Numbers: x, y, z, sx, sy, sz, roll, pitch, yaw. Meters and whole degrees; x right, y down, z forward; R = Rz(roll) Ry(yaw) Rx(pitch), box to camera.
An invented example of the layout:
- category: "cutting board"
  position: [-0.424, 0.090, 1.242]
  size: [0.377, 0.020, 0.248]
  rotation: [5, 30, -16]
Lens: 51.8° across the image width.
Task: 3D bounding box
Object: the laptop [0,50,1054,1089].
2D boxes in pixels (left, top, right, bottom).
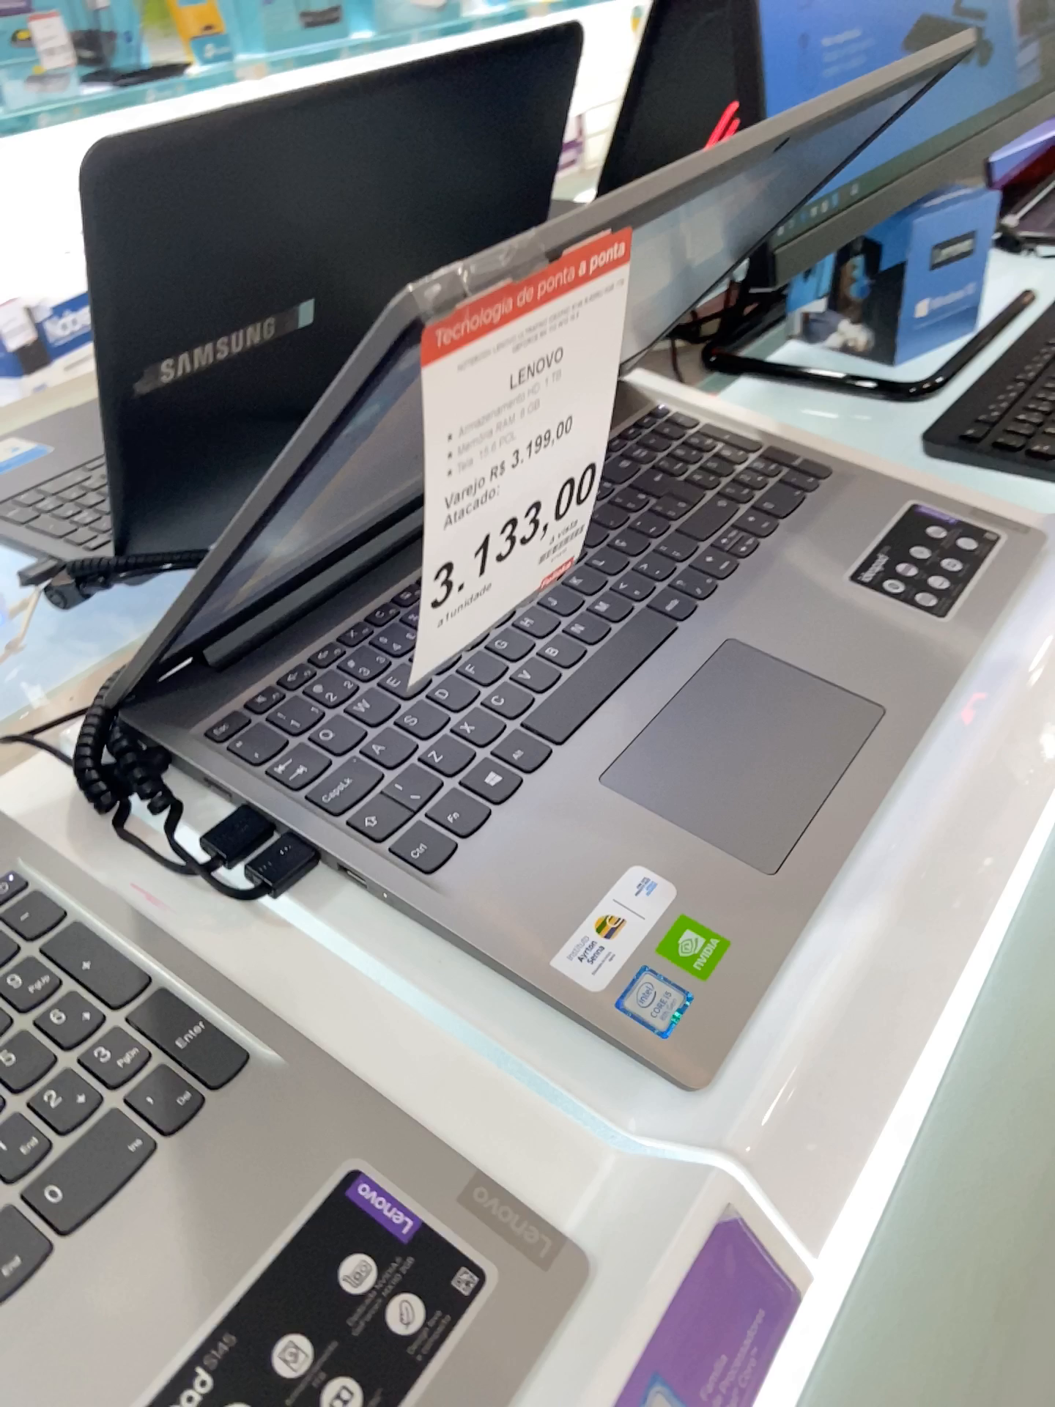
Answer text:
- category: "laptop"
  position: [0.043, -0.106, 0.417]
  size: [0.241, 0.163, 0.361]
  rotation: [25, 45, 25]

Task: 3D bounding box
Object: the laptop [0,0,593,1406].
- category: "laptop"
  position: [-0.244, 0.057, 0.155]
  size: [0.351, 0.224, 0.348]
  rotation: [23, 43, 24]
